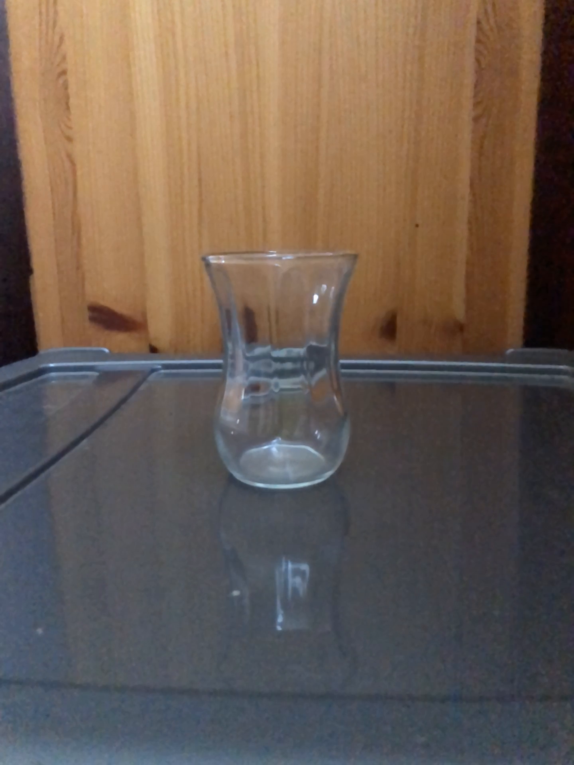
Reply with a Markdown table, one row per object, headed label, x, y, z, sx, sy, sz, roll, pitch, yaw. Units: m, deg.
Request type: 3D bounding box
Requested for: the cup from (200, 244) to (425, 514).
| label | x | y | z | sx | sy | sz | roll | pitch | yaw |
| --- | --- | --- | --- | --- | --- | --- | --- | --- | --- |
| cup | 0.006 | -0.007 | 0.227 | 0.060 | 0.080 | 0.060 | 0 | 14 | 0 |
